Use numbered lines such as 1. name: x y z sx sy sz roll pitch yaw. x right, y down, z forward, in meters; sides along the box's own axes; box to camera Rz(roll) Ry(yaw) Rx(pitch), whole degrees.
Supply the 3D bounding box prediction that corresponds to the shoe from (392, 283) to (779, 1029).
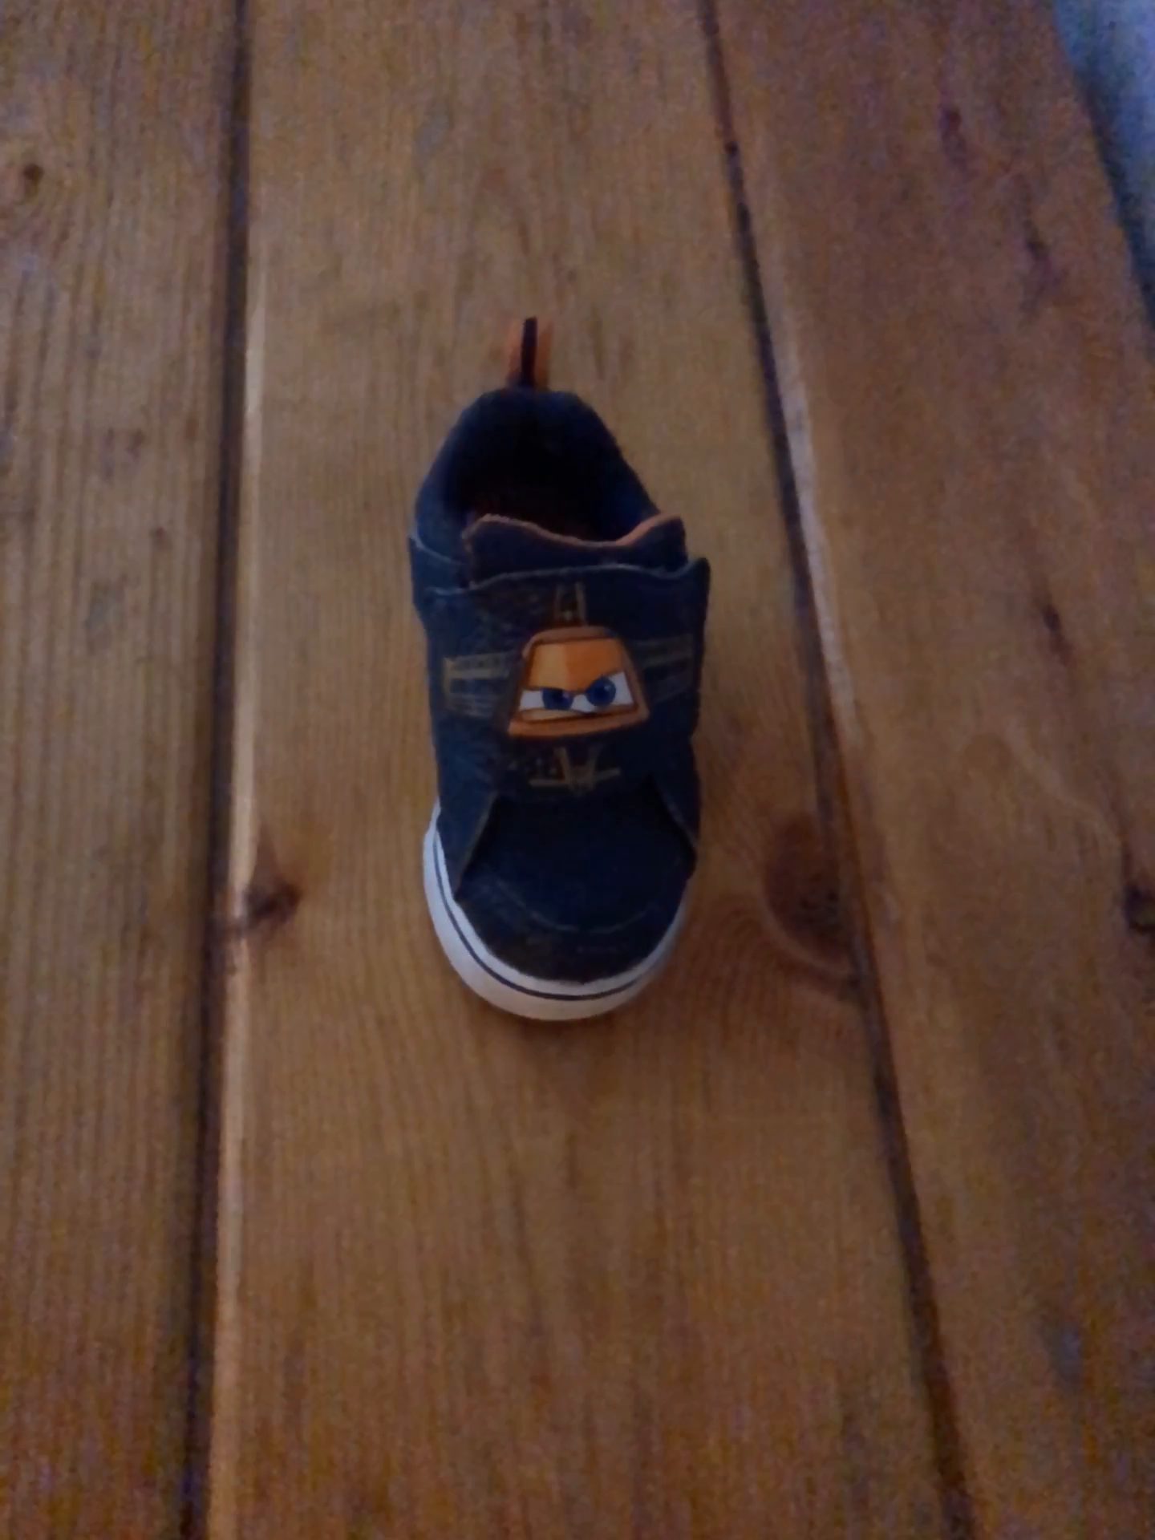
1. shoe: -0.007 -0.026 0.308 0.070 0.070 0.160 1 66 -11
